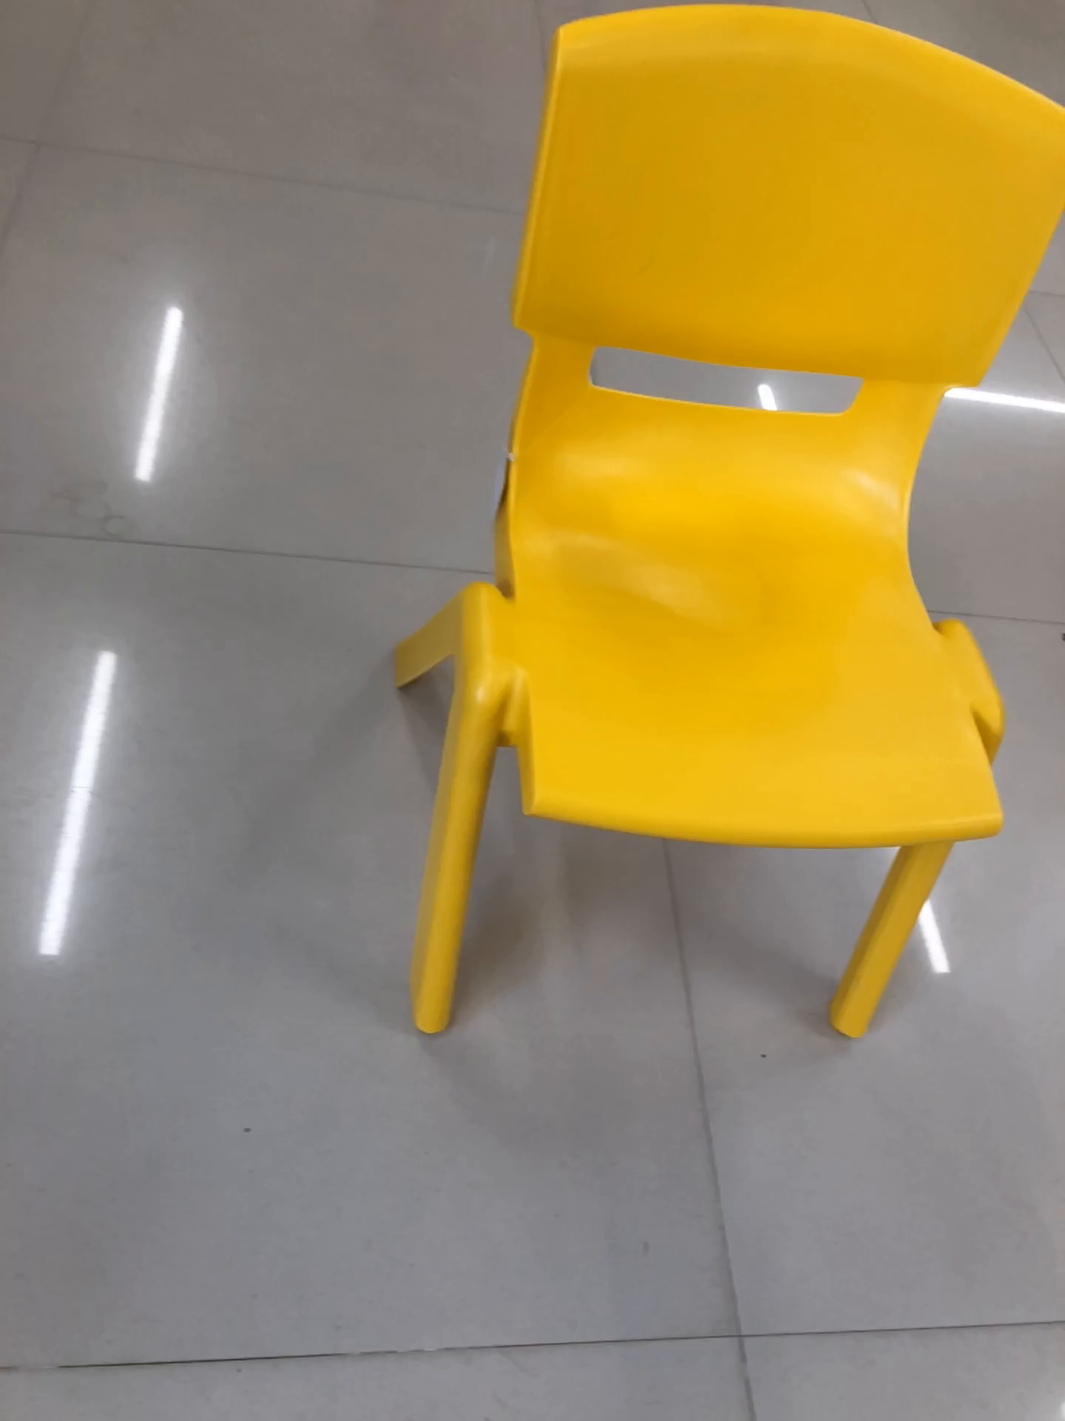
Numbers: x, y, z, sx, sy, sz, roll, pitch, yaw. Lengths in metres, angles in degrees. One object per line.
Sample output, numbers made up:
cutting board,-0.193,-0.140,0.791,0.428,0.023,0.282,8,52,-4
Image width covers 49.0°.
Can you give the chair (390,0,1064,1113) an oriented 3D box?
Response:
chair,0.124,-0.076,0.651,0.361,0.398,0.452,3,52,-12
